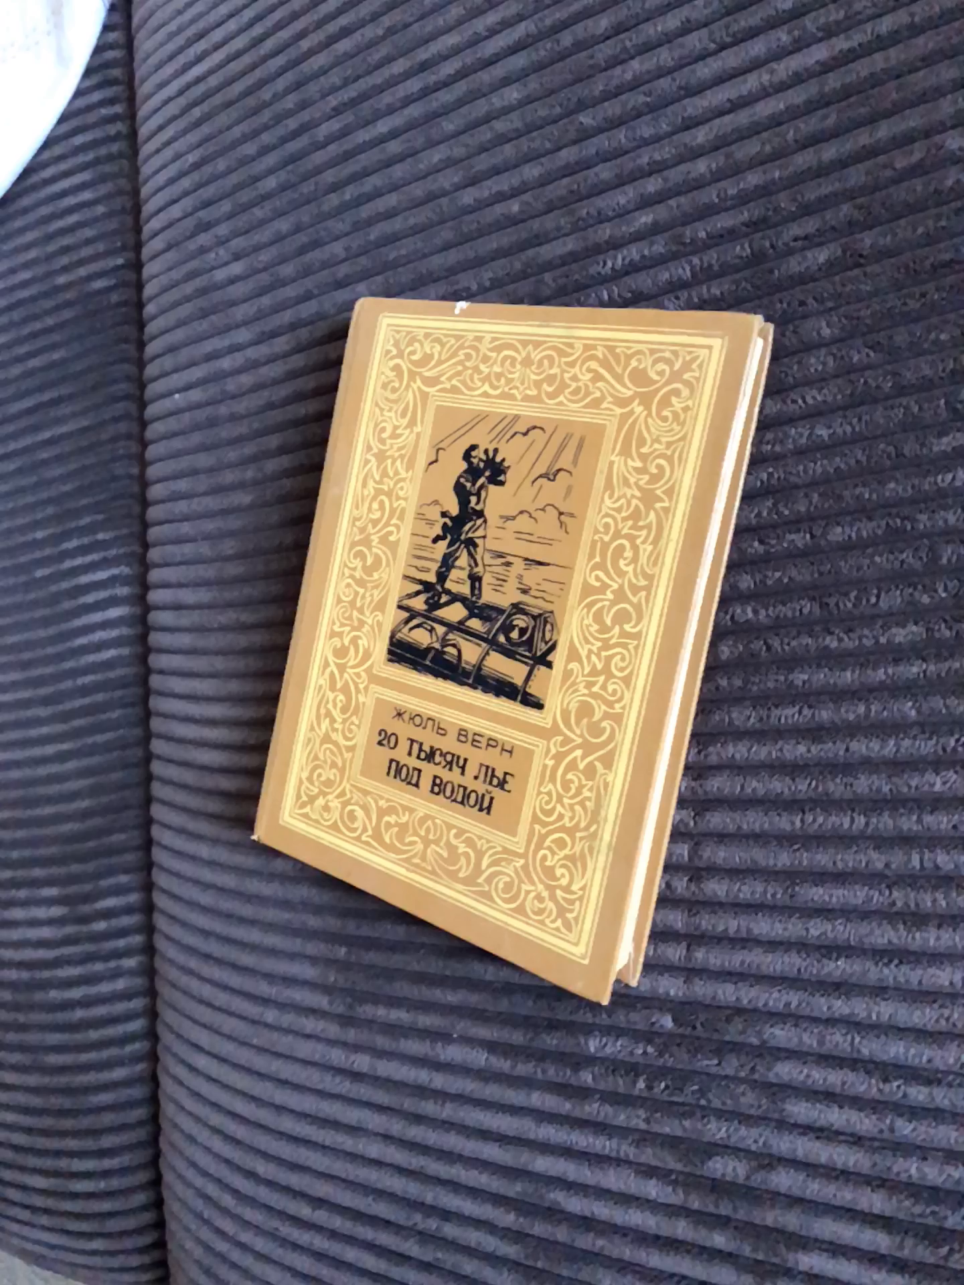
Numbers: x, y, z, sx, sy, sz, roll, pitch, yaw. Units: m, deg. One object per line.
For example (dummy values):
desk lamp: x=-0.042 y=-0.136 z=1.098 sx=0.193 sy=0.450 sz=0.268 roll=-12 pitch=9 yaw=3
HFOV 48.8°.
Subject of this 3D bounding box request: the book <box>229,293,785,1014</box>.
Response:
book: x=-0.002 y=-0.009 z=0.379 sx=0.171 sy=0.029 sz=0.219 roll=14 pitch=95 yaw=34
